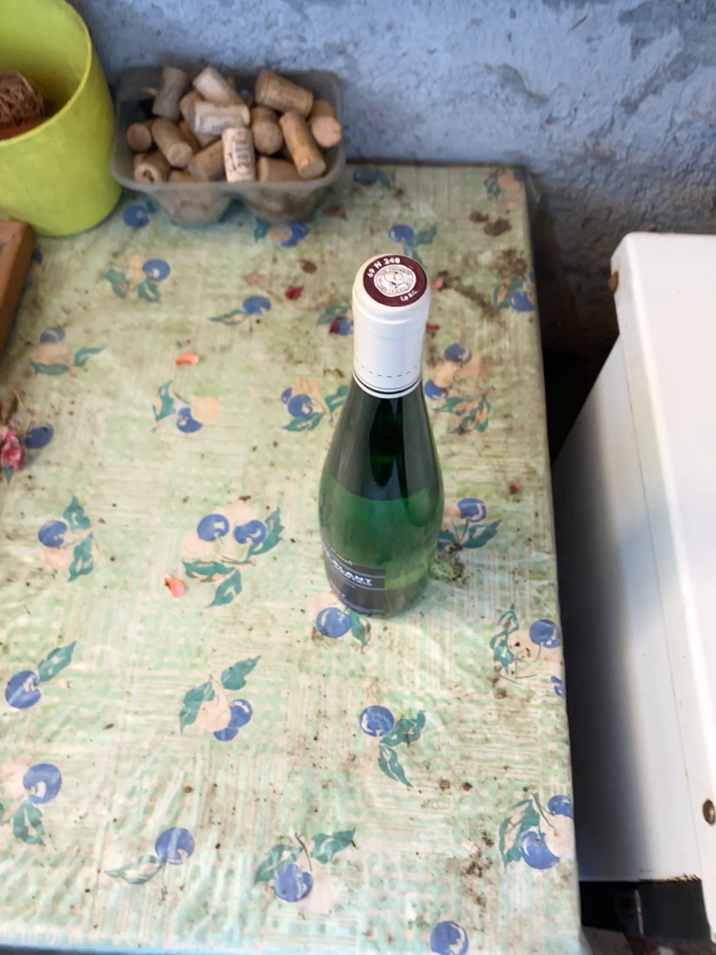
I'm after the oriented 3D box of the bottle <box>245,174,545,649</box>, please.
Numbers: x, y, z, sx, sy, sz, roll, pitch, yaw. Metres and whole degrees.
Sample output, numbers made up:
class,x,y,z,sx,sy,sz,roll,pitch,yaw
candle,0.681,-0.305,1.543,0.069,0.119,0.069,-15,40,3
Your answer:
class,x,y,z,sx,sy,sz,roll,pitch,yaw
bottle,0.012,0.001,0.451,0.080,0.339,0.080,0,64,-1
